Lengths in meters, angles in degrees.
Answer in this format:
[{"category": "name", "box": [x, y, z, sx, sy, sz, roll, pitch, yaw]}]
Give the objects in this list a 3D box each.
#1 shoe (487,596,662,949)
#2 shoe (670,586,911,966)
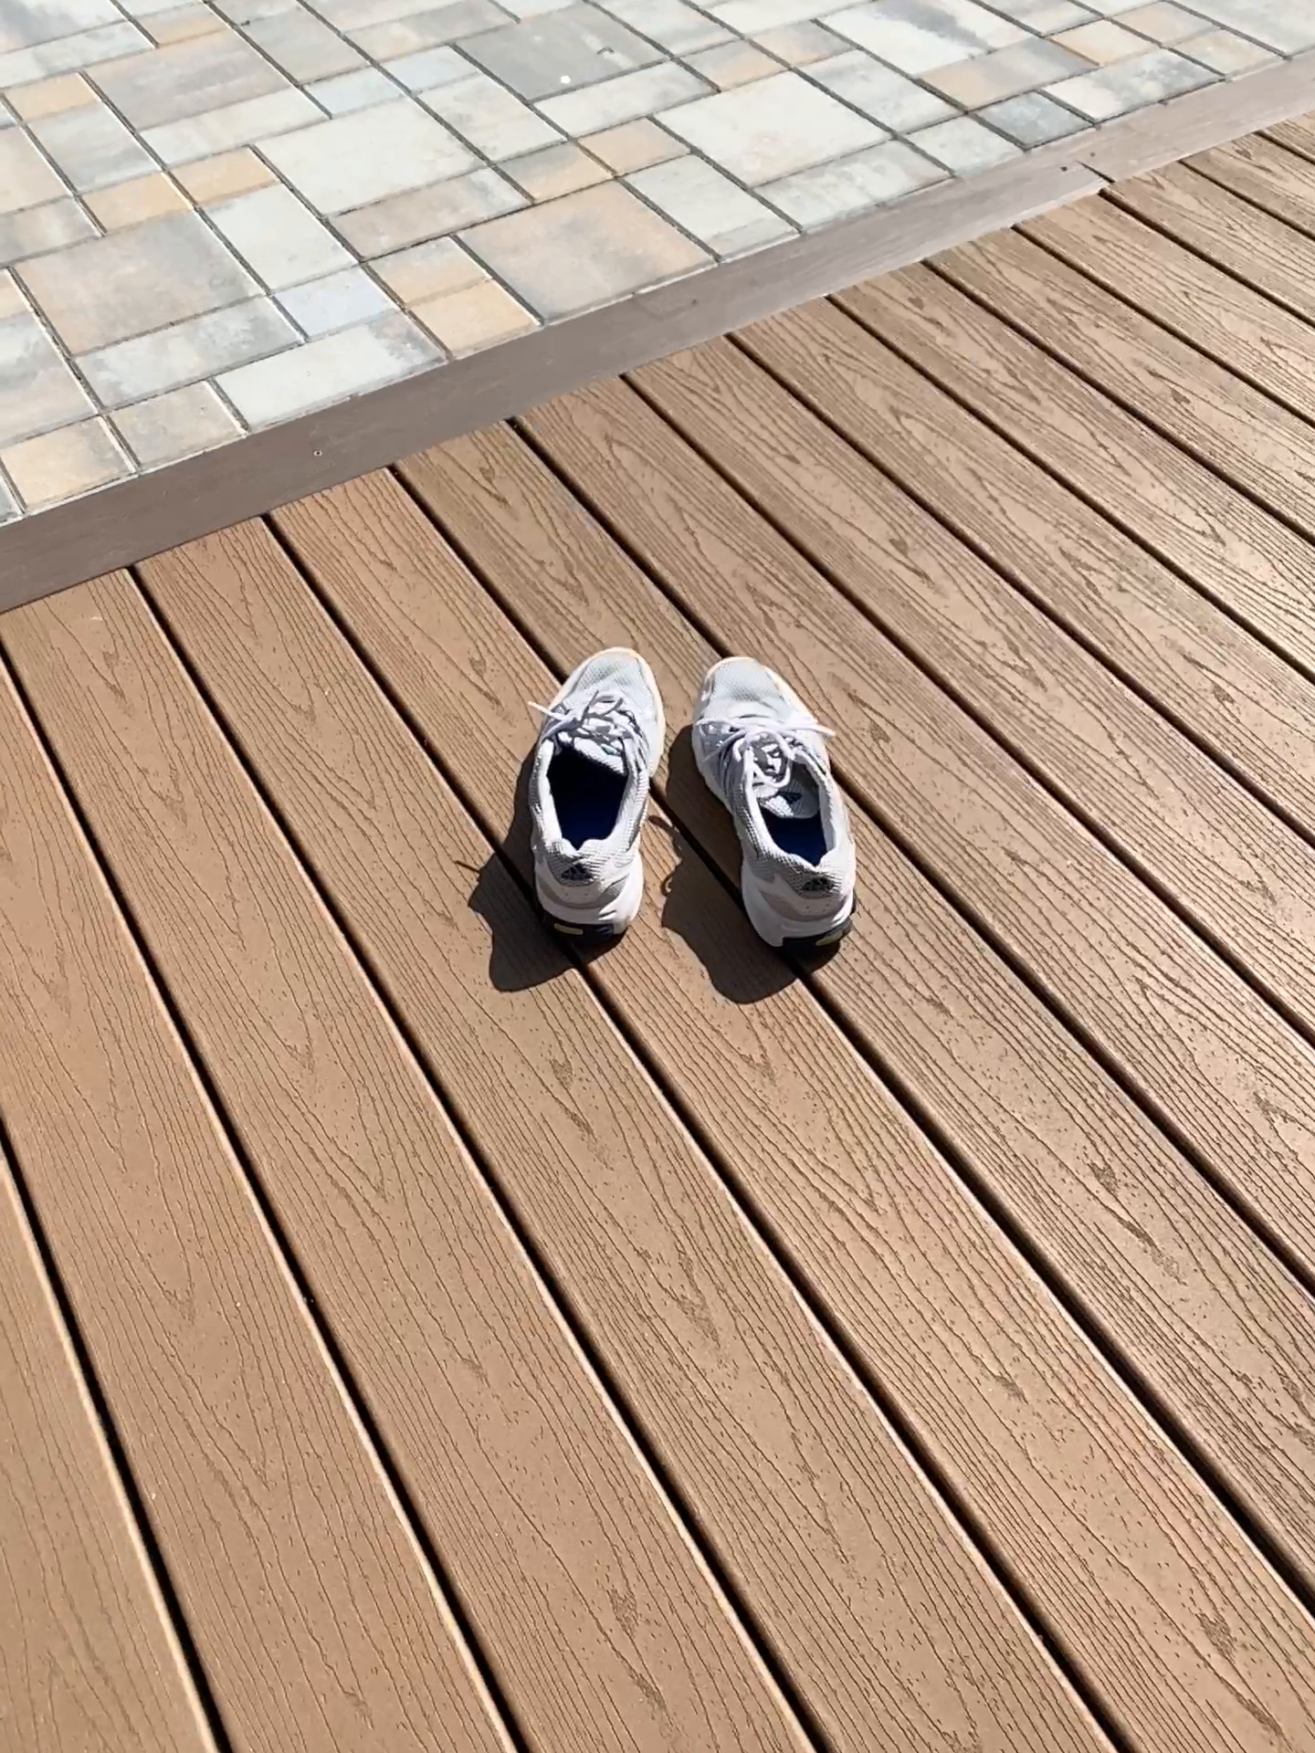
[{"category": "shoe", "box": [-0.059, -0.091, 1.097, 0.120, 0.100, 0.291, 0, 54, 2]}, {"category": "shoe", "box": [0.097, -0.089, 1.090, 0.120, 0.100, 0.301, -9, 54, -5]}]
